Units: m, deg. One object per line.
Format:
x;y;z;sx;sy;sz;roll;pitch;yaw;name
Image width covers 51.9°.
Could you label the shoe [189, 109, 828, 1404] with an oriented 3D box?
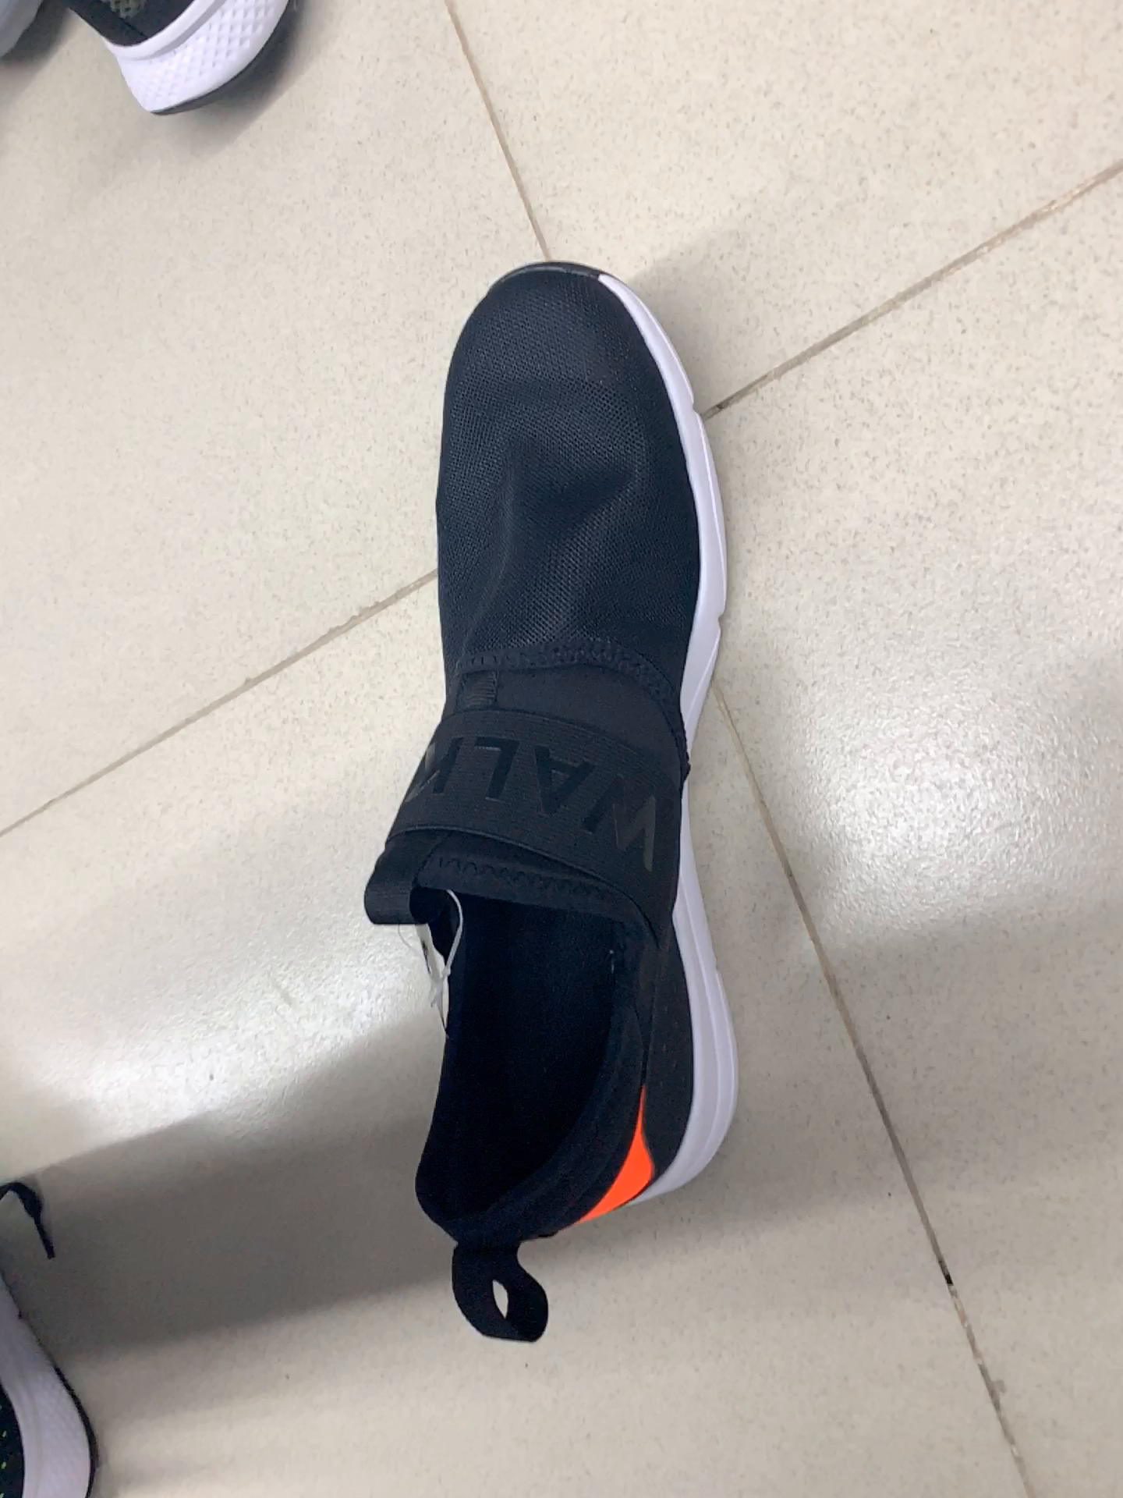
-0.009;0.003;0.329;0.111;0.119;0.280;-5;89;31;shoe
